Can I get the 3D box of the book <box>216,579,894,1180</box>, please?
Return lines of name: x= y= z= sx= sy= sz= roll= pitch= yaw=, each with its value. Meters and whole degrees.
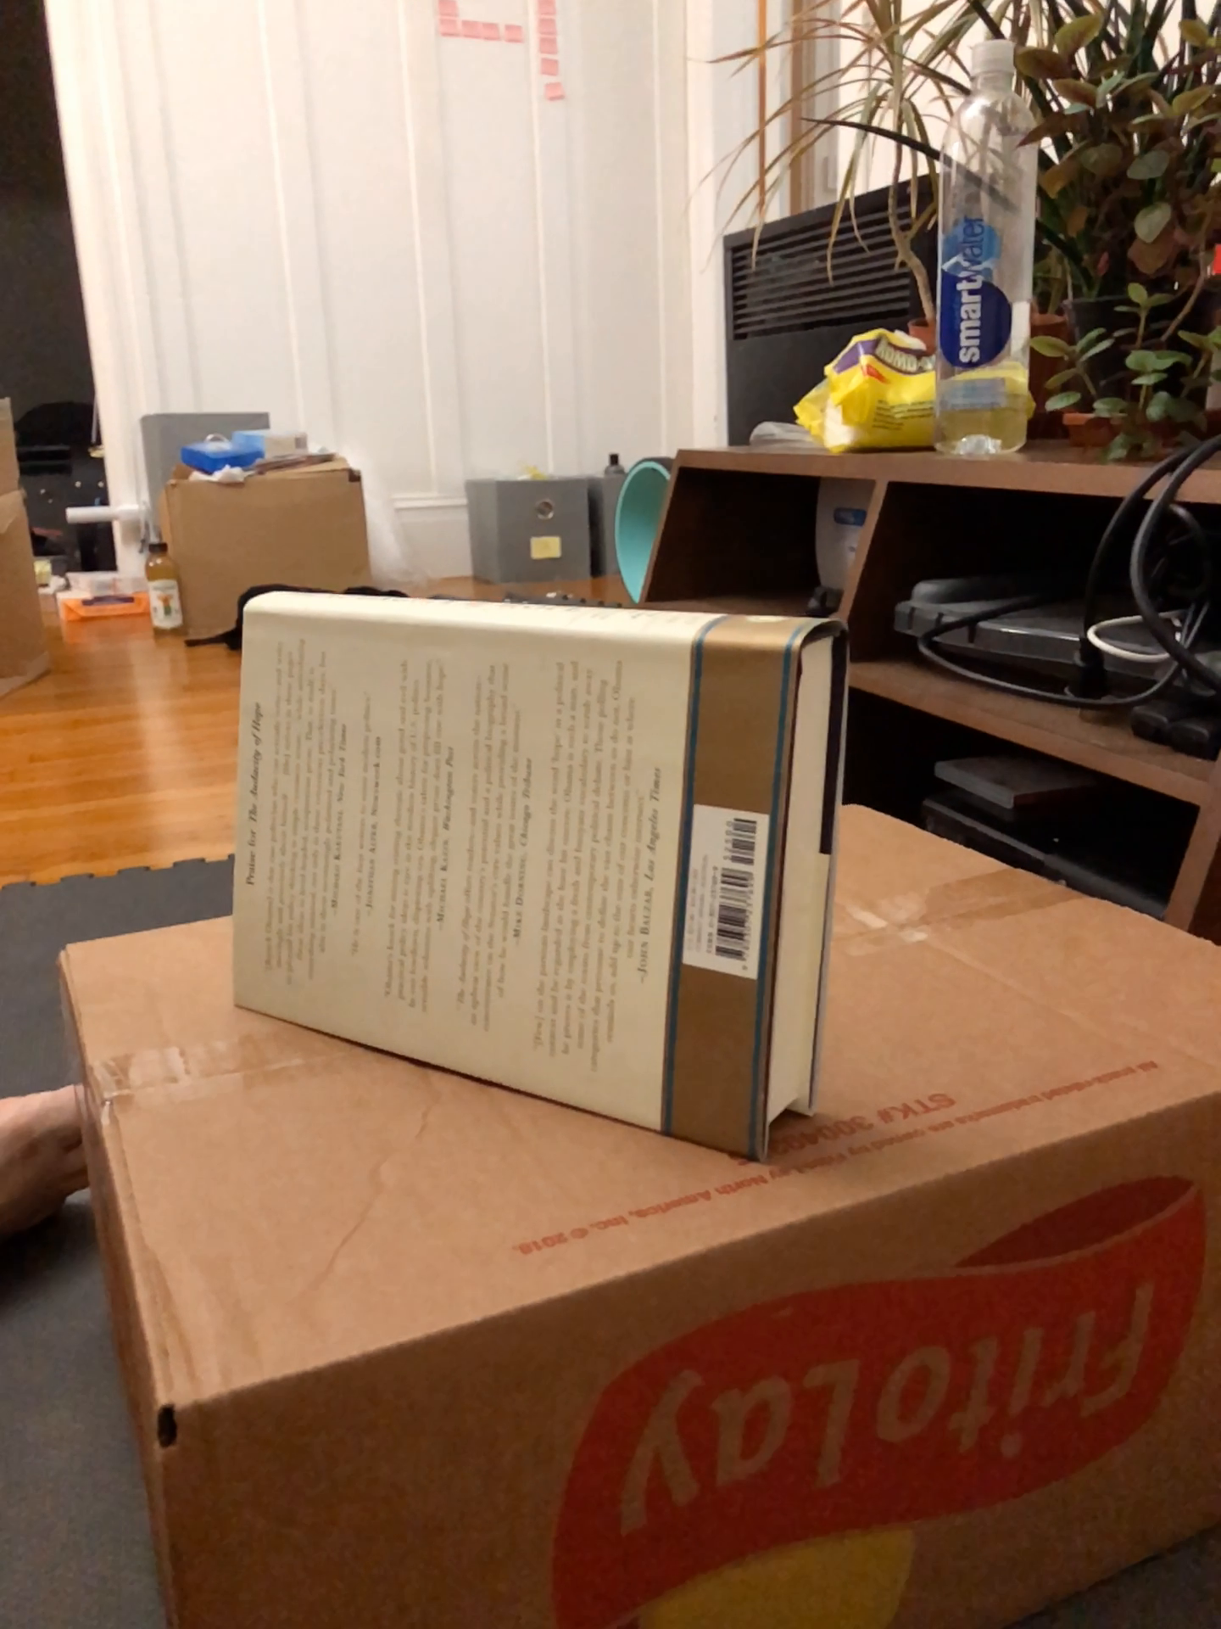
book: x=-0.034 y=0.008 z=0.495 sx=0.250 sy=0.170 sz=0.060 roll=10 pitch=9 yaw=33
